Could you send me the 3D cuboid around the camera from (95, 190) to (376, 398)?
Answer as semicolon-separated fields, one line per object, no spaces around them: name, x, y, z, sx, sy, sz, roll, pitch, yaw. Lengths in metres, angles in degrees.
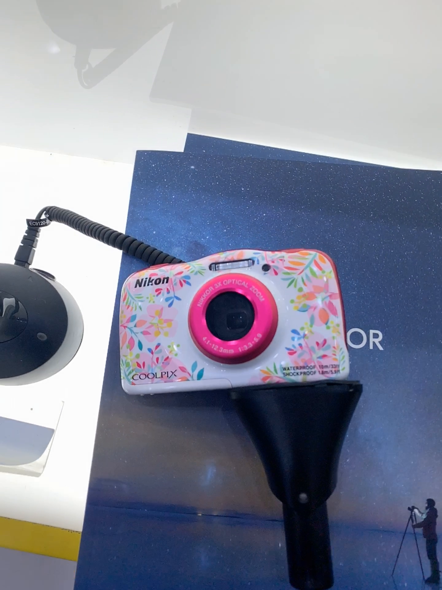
camera;0.004;0.000;0.211;0.110;0.040;0.080;-4;69;0
